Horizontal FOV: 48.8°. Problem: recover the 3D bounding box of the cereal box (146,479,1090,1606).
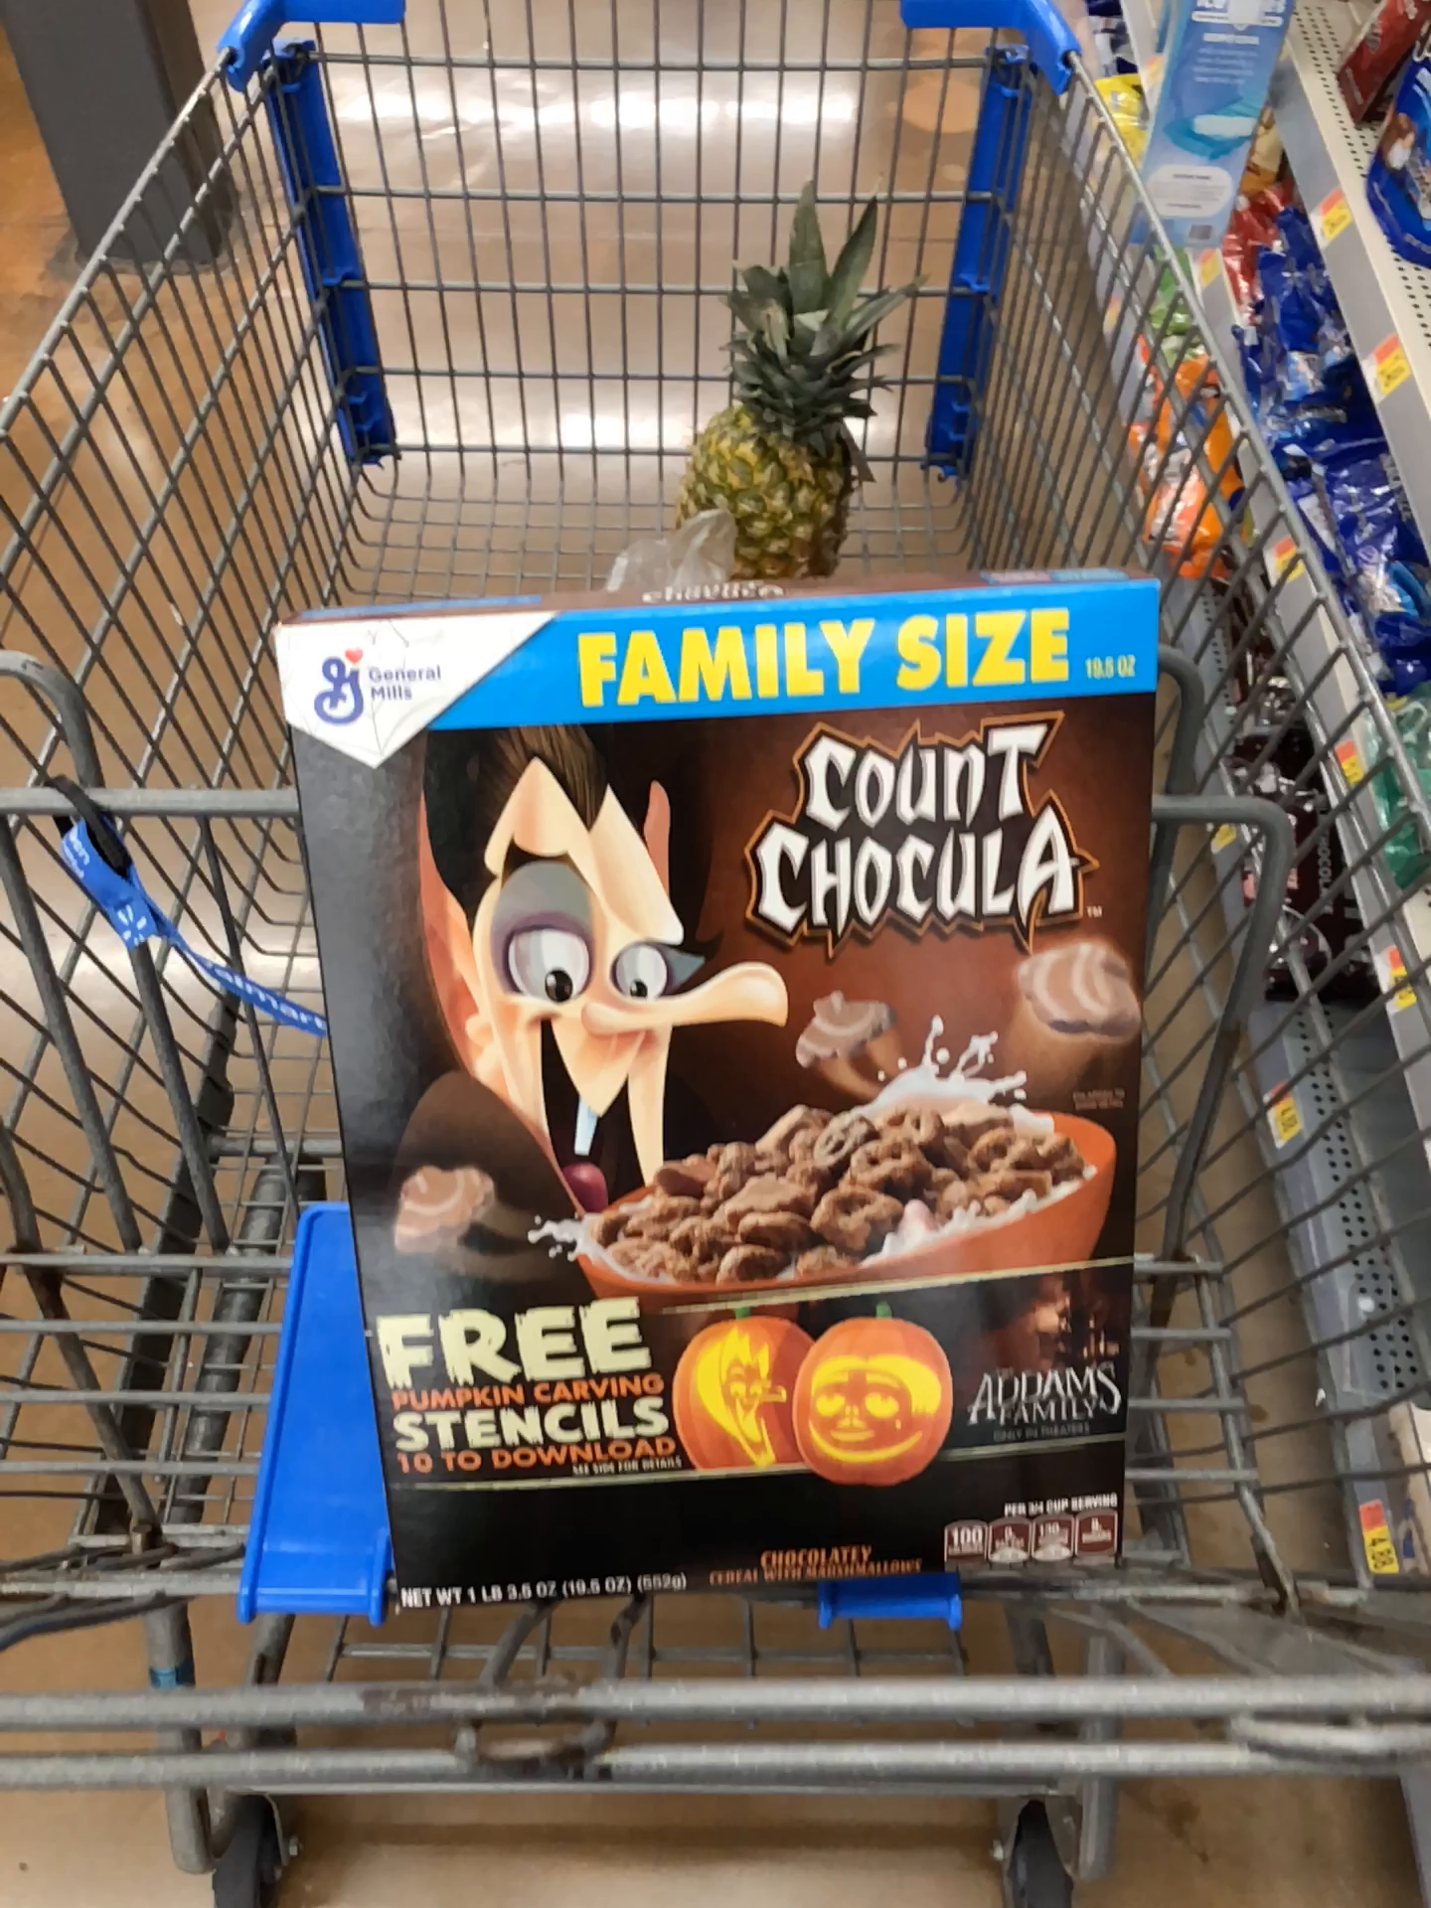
[{"bbox_3d":[-0.014,0.031,0.506,0.250,0.330,0.080,-6,19,-4],"label":"cereal box"}]
